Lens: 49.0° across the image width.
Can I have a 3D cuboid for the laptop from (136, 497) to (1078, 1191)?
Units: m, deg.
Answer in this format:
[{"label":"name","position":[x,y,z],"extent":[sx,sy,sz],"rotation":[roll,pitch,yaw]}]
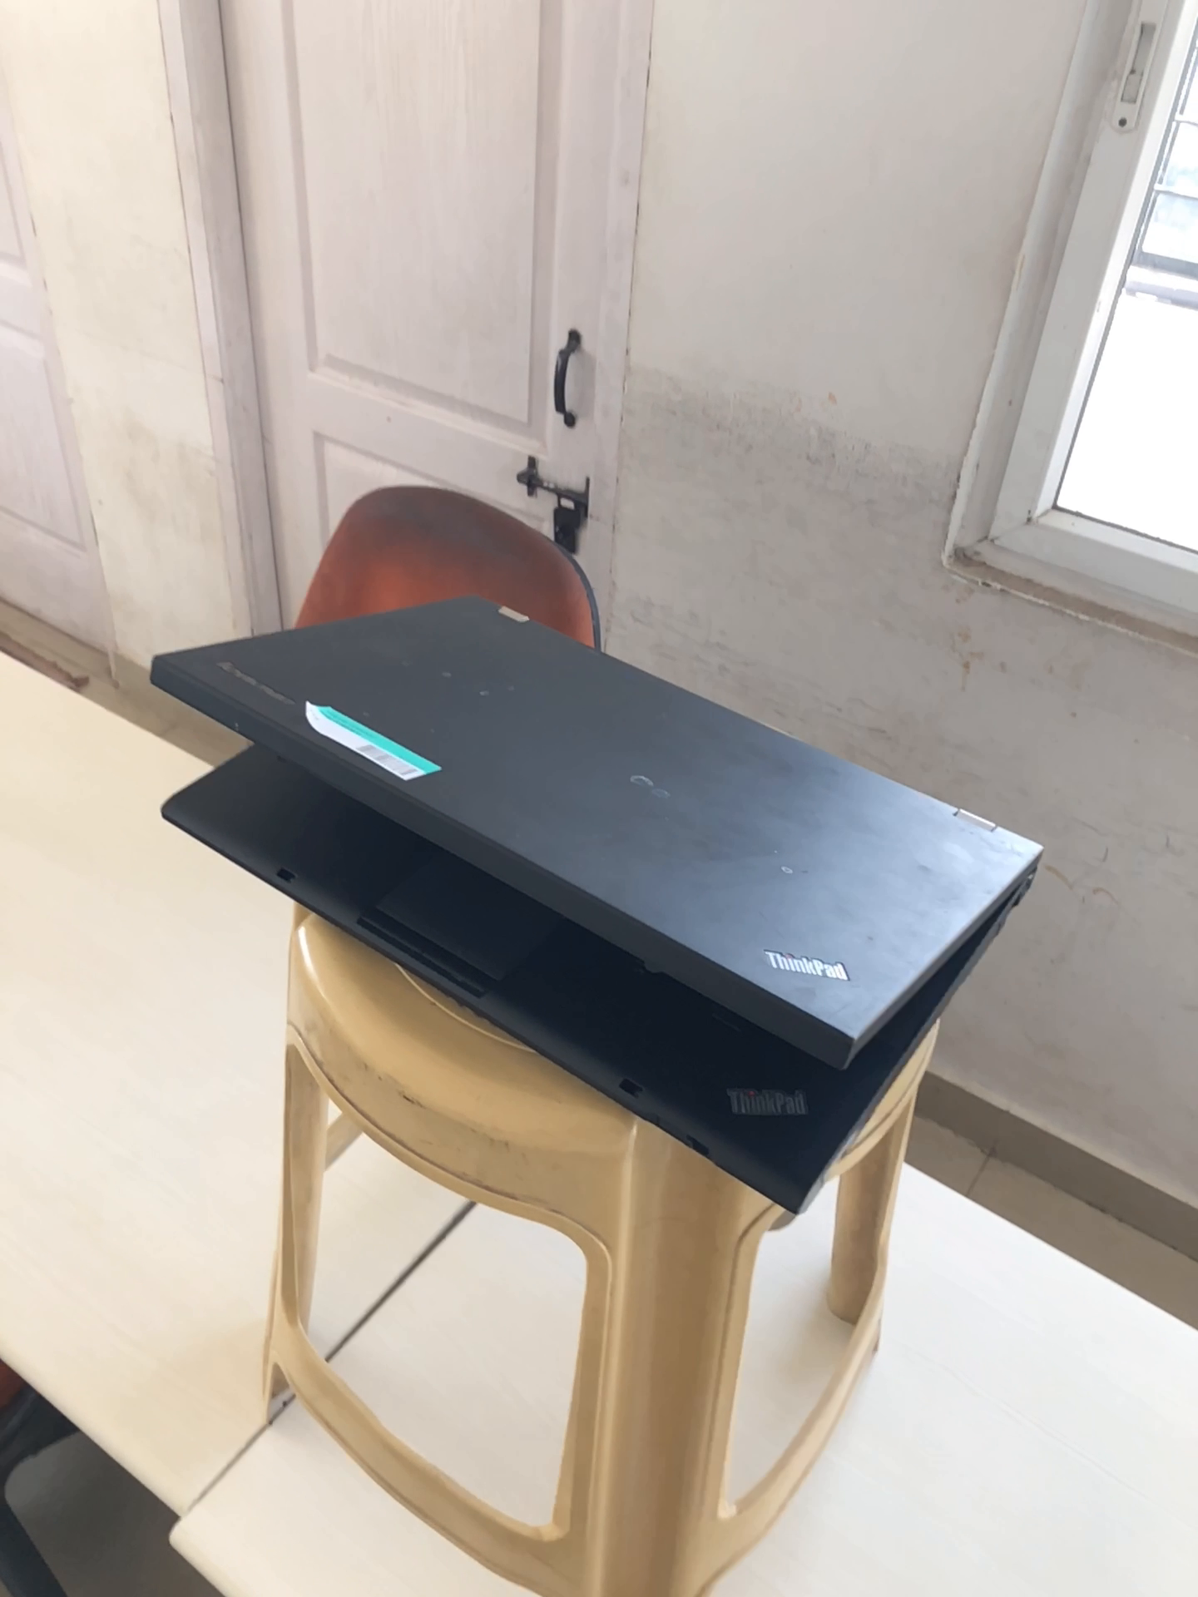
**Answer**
[{"label":"laptop","position":[0.000,-0.011,0.631],"extent":[0.362,0.074,0.235],"rotation":[27,46,25]}]
